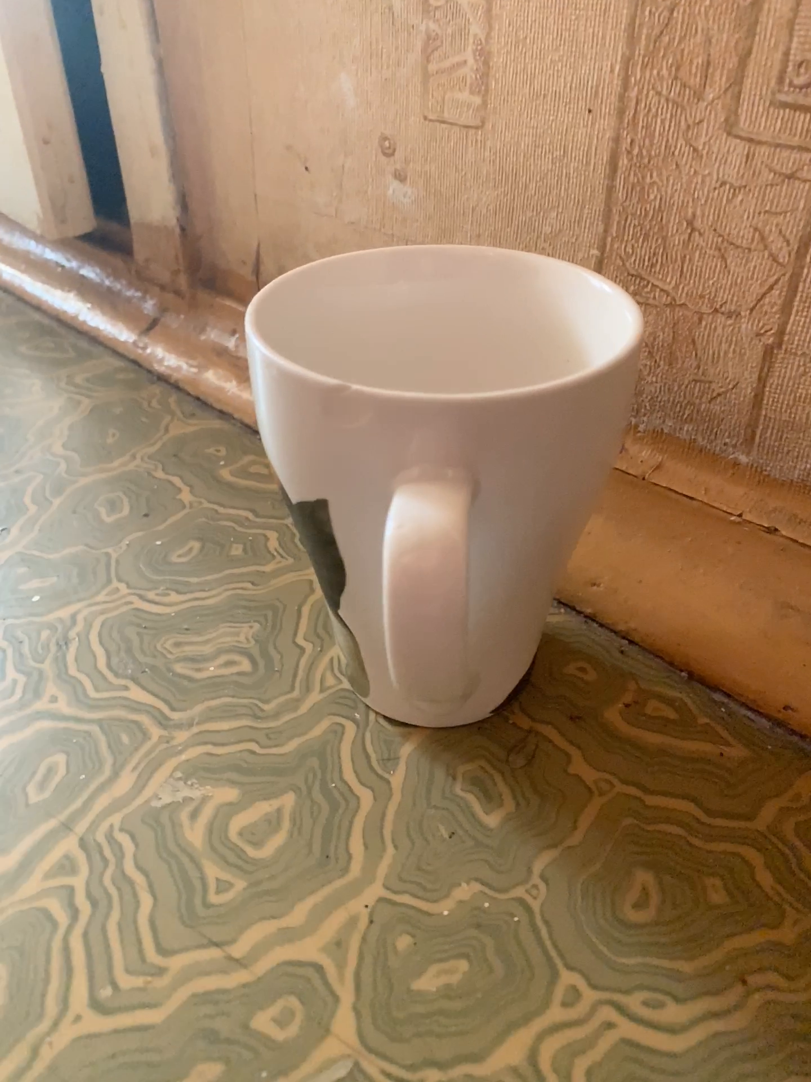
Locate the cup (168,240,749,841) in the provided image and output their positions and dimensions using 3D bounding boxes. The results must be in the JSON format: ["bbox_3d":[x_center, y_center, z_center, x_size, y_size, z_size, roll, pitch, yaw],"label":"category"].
[{"bbox_3d":[0.007,-0.008,0.212,0.093,0.099,0.119,-1,35,-2],"label":"cup"}]
